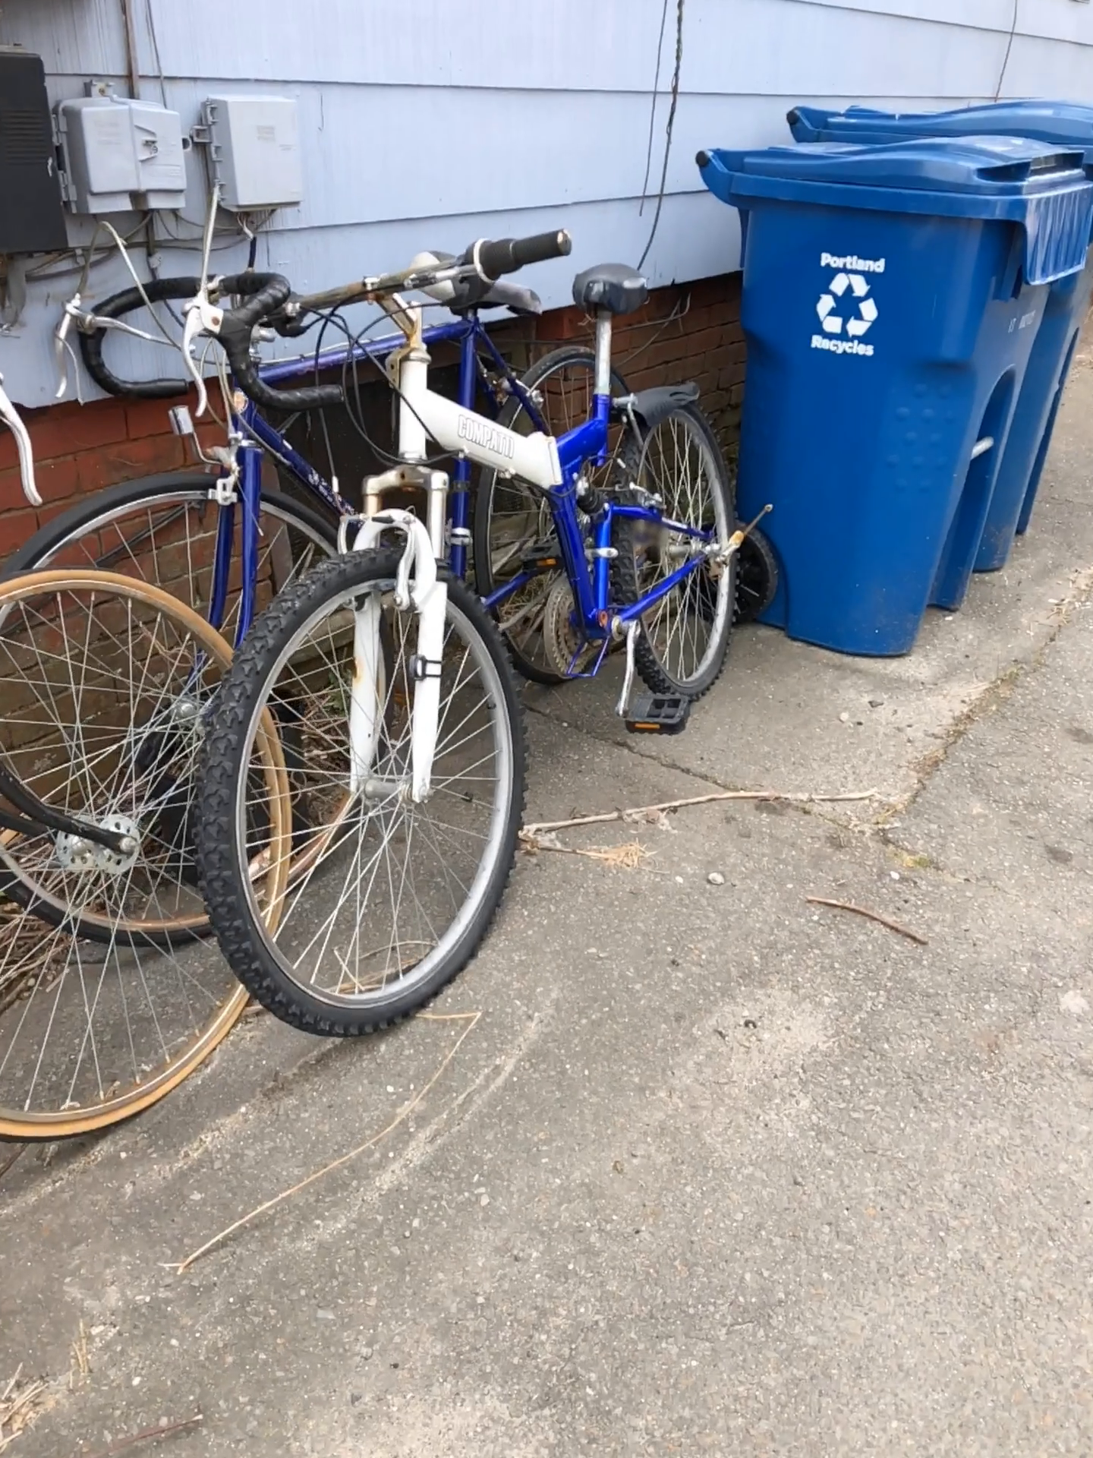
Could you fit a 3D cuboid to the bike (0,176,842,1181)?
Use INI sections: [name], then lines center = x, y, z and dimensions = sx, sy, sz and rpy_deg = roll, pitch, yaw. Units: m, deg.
[bike]
center = -0.064, -0.315, 2.097
dimensions = 0.562, 0.978, 1.739
rpy_deg = 15, 34, 23
